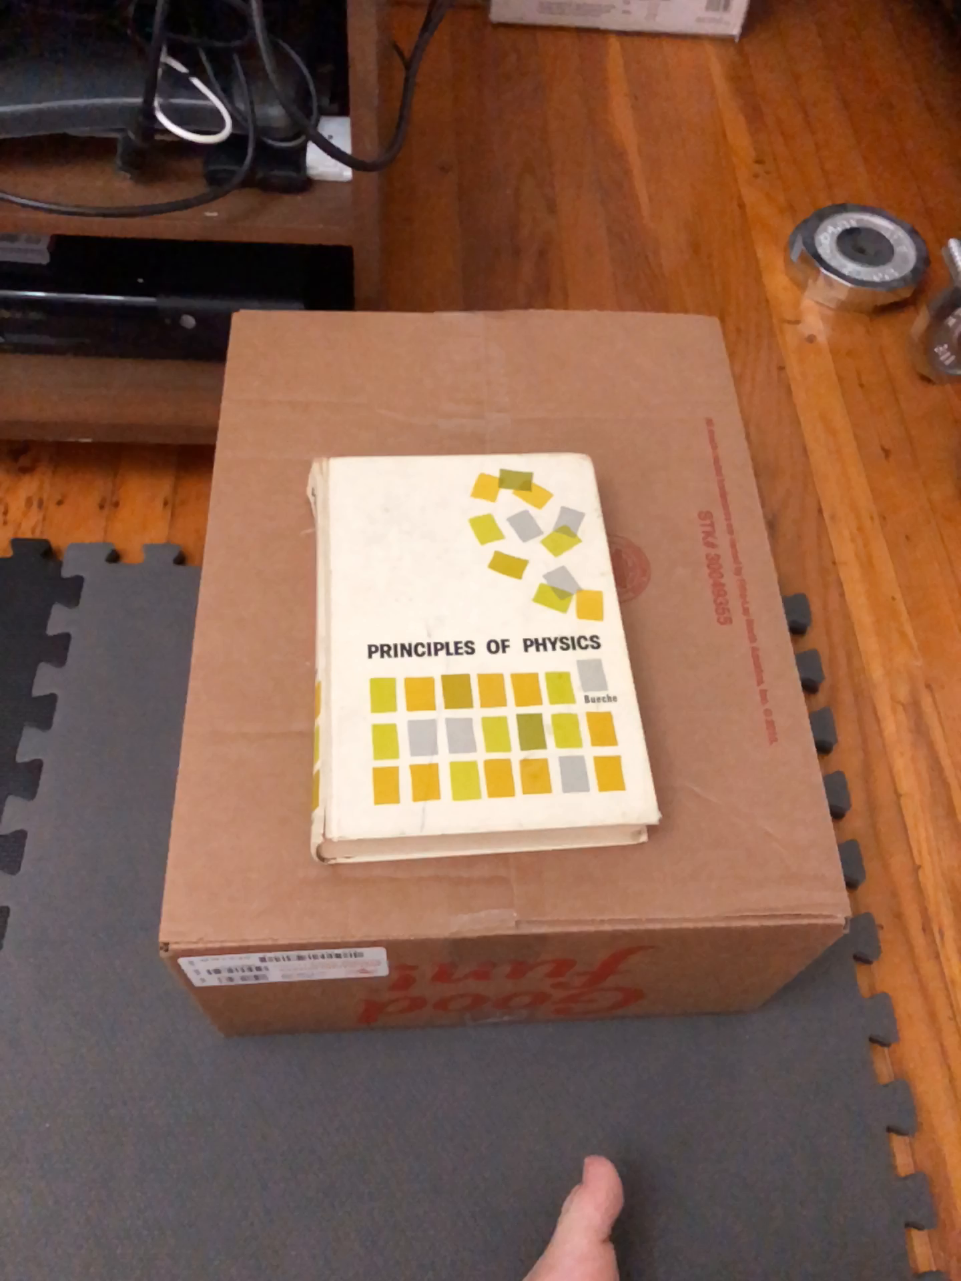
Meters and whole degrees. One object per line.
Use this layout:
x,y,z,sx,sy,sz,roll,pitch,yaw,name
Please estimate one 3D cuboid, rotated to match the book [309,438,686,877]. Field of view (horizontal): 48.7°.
-0.001,-0.002,0.586,0.180,0.040,0.251,-2,59,-5,book
